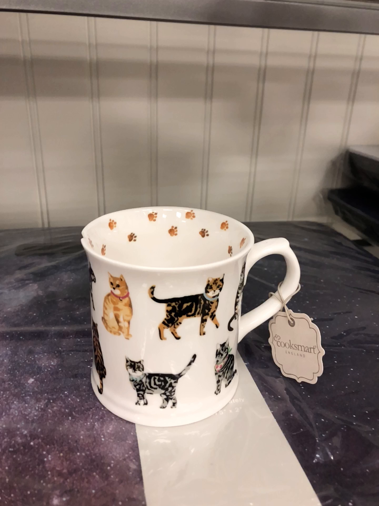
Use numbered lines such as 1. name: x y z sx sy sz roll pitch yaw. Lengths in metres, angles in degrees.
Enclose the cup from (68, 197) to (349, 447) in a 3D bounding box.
1. cup: 0.001 0.031 0.260 0.137 0.099 0.096 -5 25 -15
